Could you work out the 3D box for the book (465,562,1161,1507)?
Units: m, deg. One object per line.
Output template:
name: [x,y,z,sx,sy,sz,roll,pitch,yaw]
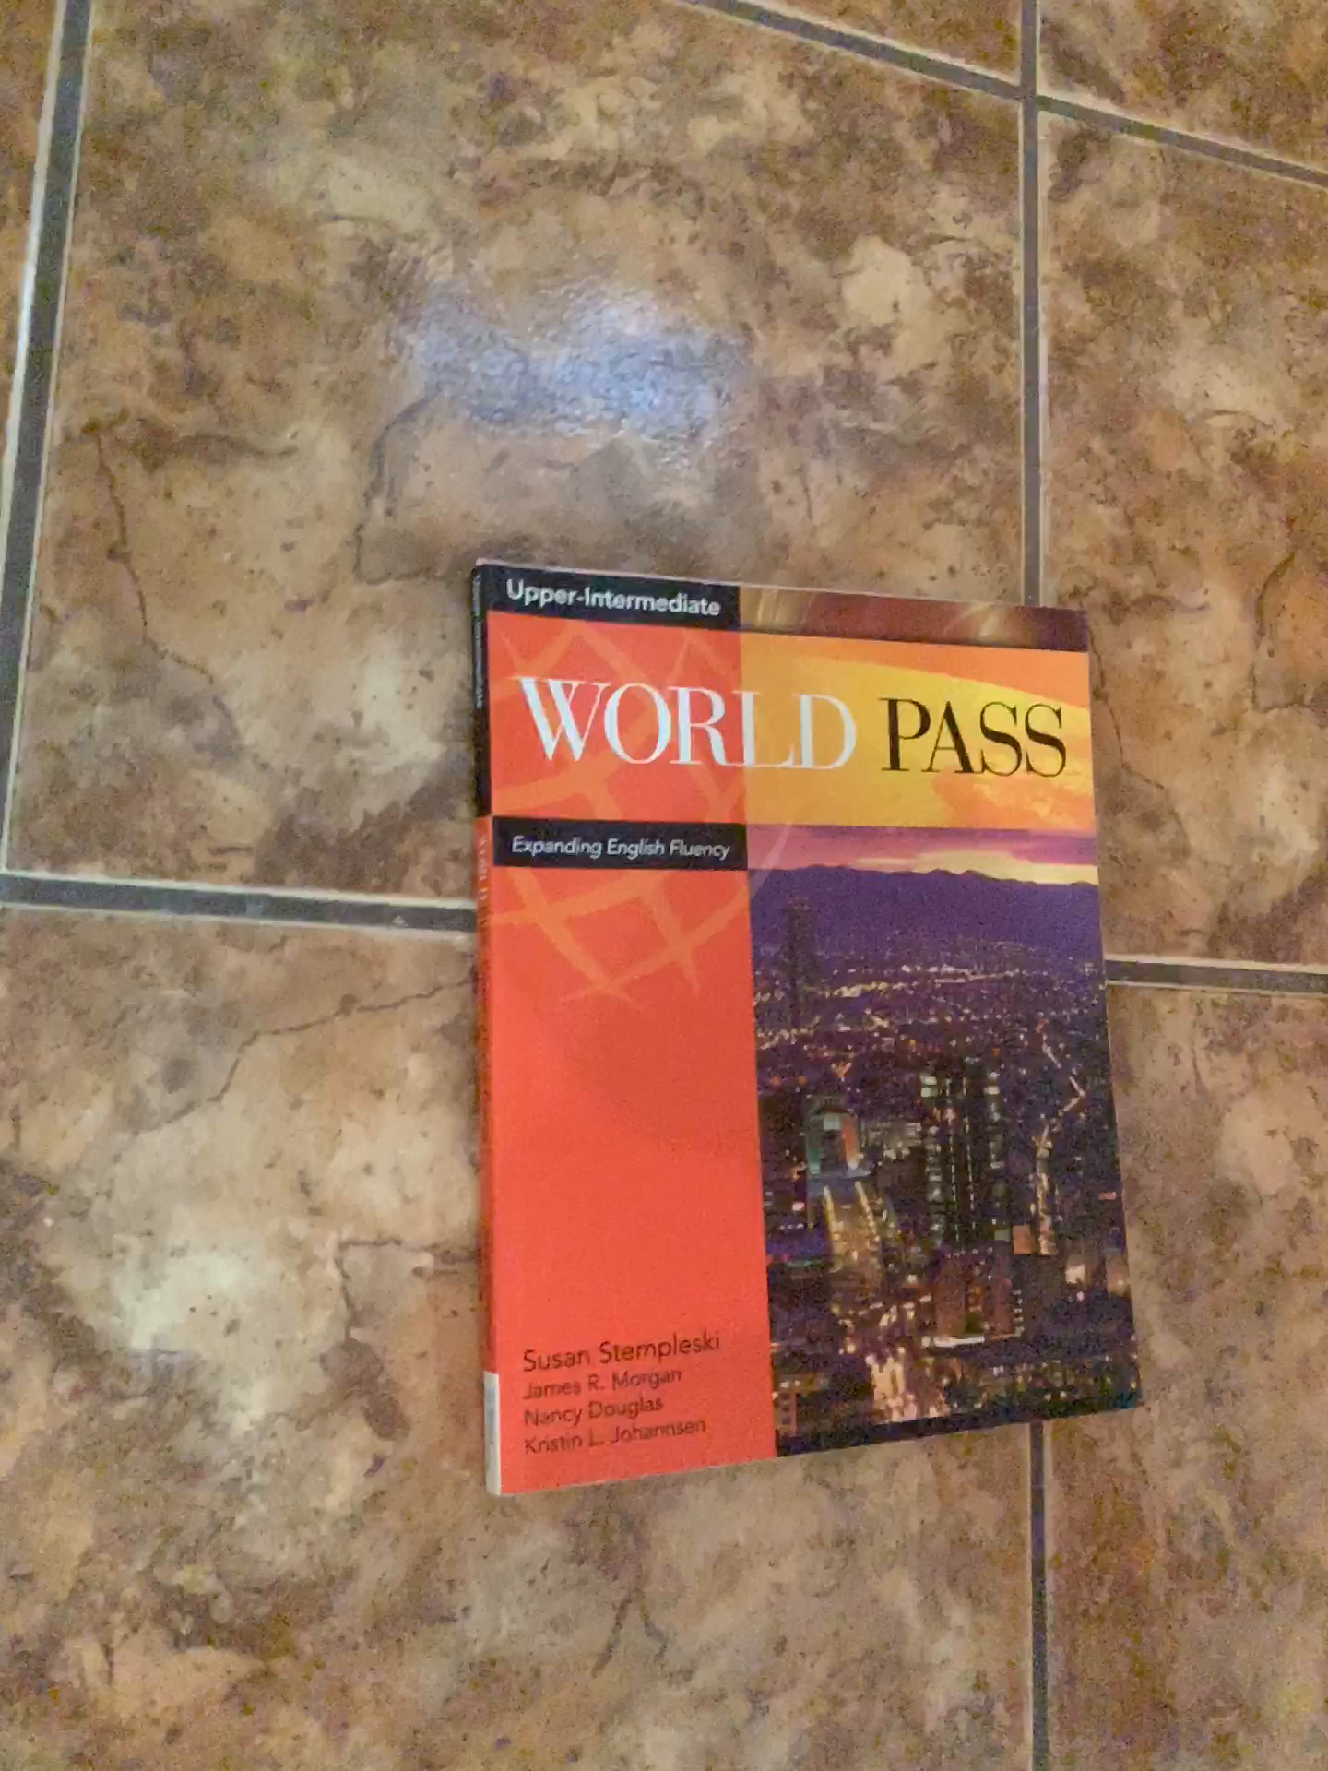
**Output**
book: [0.050,0.038,0.433,0.219,0.016,0.271,0,82,-18]
